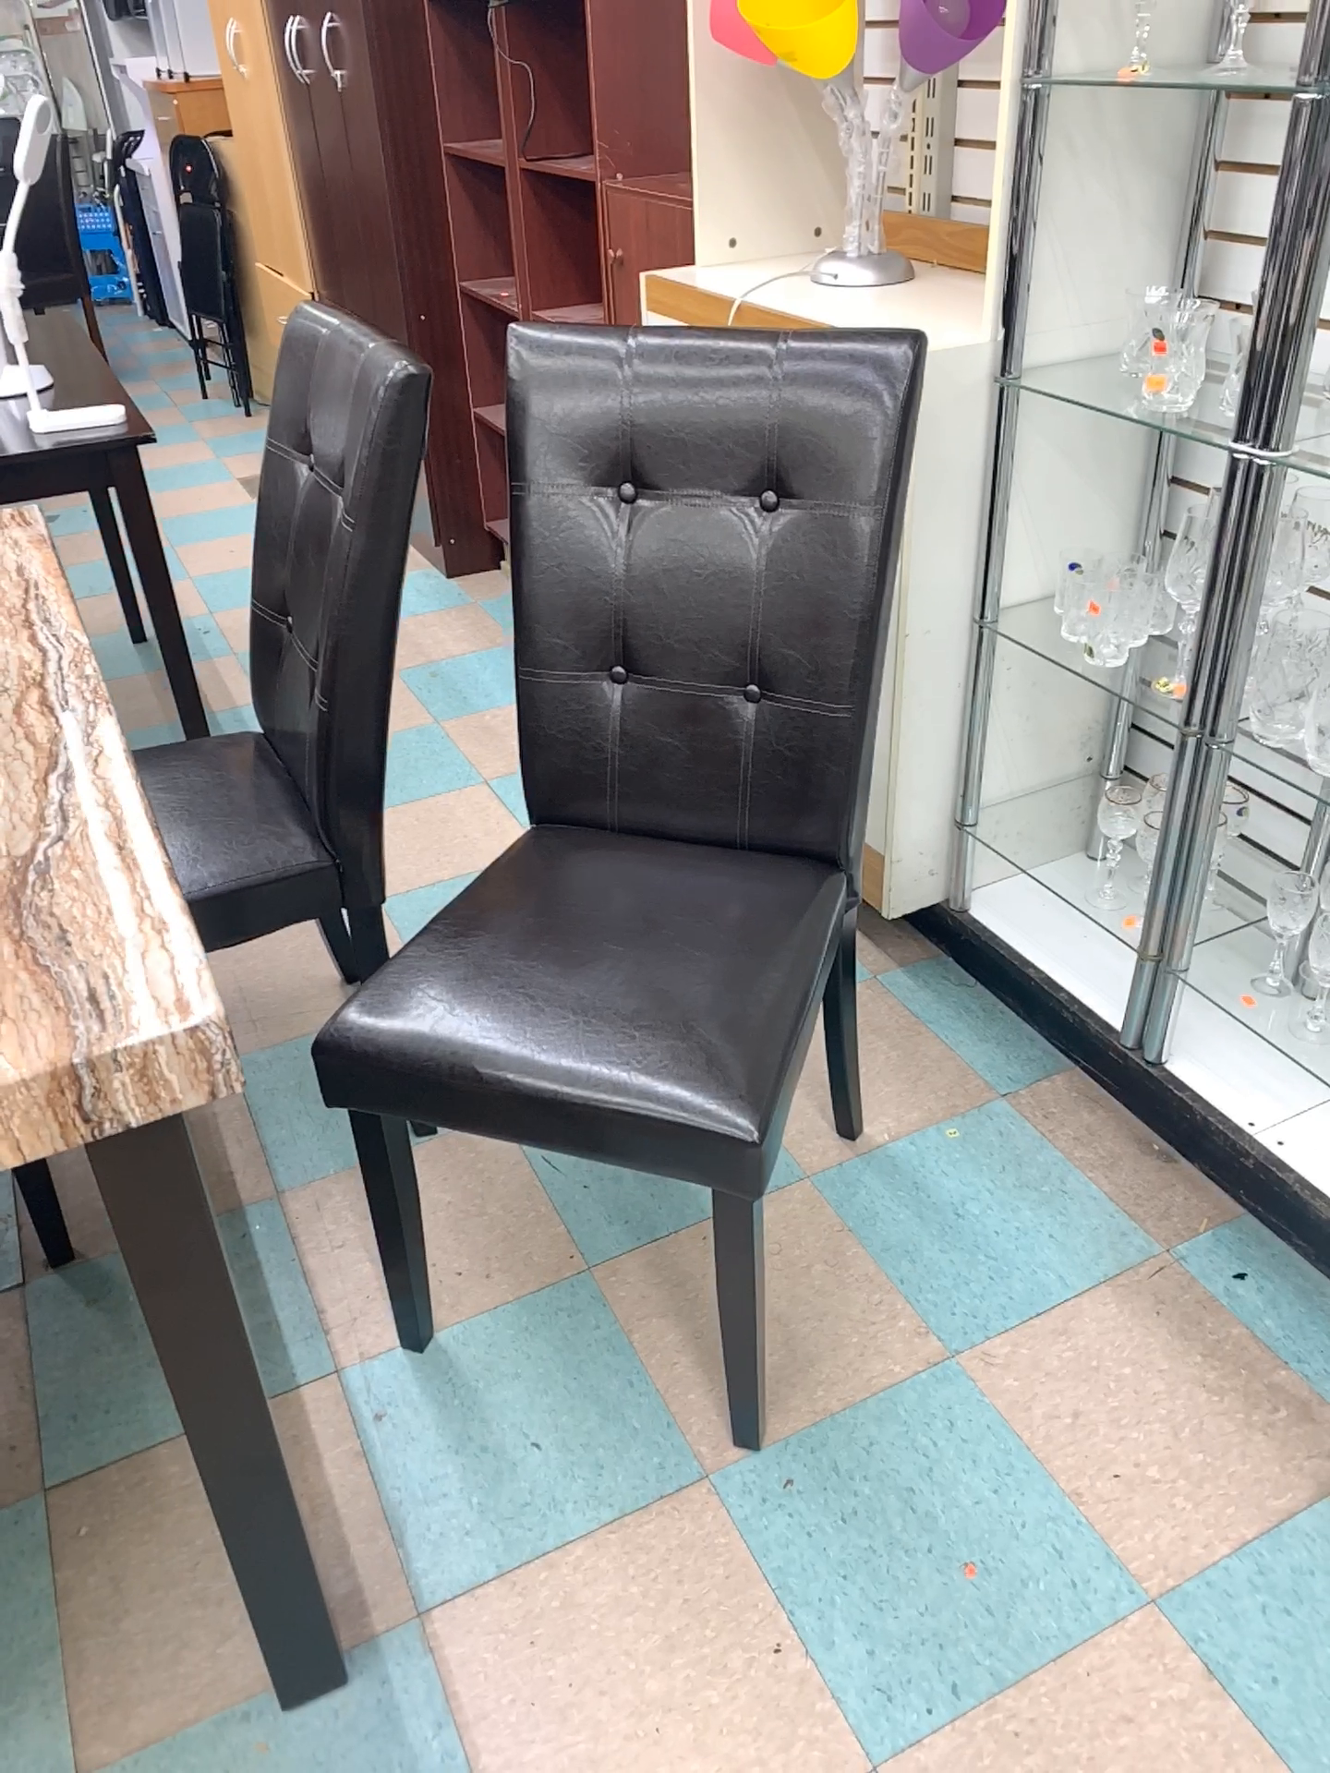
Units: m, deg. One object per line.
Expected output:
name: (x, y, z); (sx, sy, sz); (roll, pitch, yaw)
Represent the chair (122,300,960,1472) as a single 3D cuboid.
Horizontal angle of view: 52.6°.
chair: (-0.037, -0.016, 1.339); (0.484, 0.948, 0.557); (10, 35, 19)
